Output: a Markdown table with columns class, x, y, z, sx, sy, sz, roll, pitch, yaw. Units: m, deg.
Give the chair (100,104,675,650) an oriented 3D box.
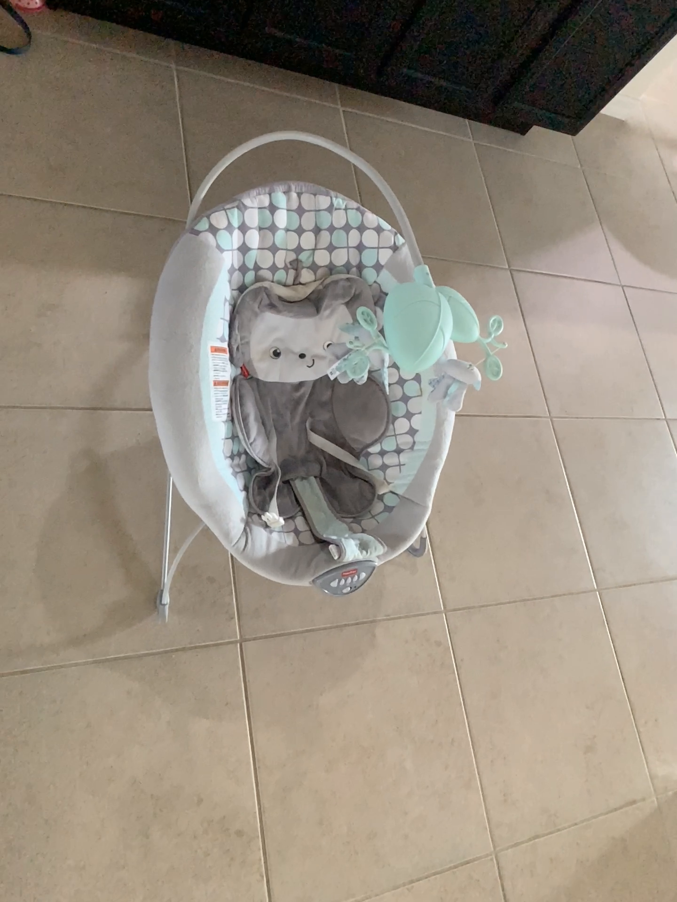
| class | x | y | z | sx | sy | sz | roll | pitch | yaw |
| --- | --- | --- | --- | --- | --- | --- | --- | --- | --- |
| chair | 0.005 | -0.062 | 1.088 | 0.573 | 0.580 | 0.546 | -6 | 72 | -30 |
